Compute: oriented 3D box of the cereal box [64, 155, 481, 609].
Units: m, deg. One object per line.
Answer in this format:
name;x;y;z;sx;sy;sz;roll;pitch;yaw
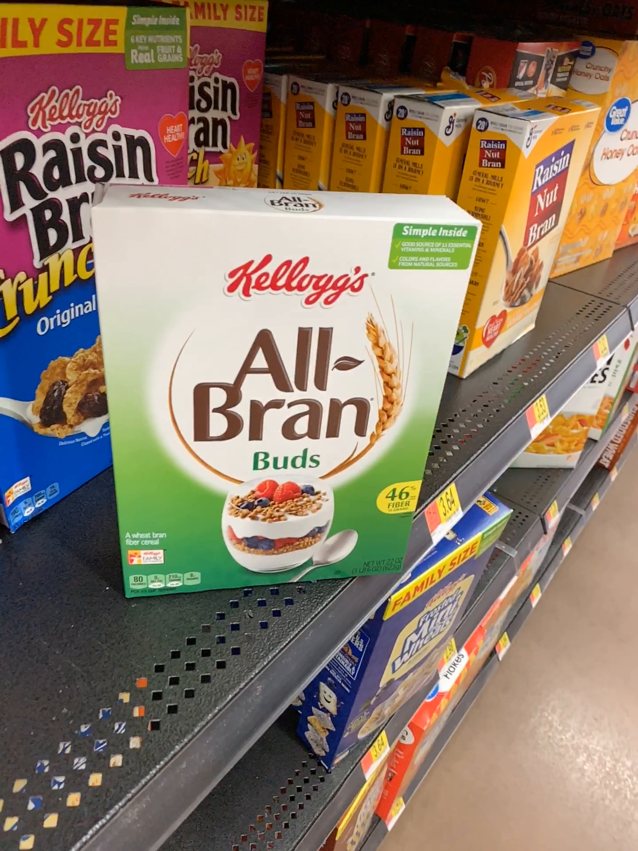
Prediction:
cereal box;-0.032;-0.010;0.384;0.190;0.259;0.050;-2;33;-13
